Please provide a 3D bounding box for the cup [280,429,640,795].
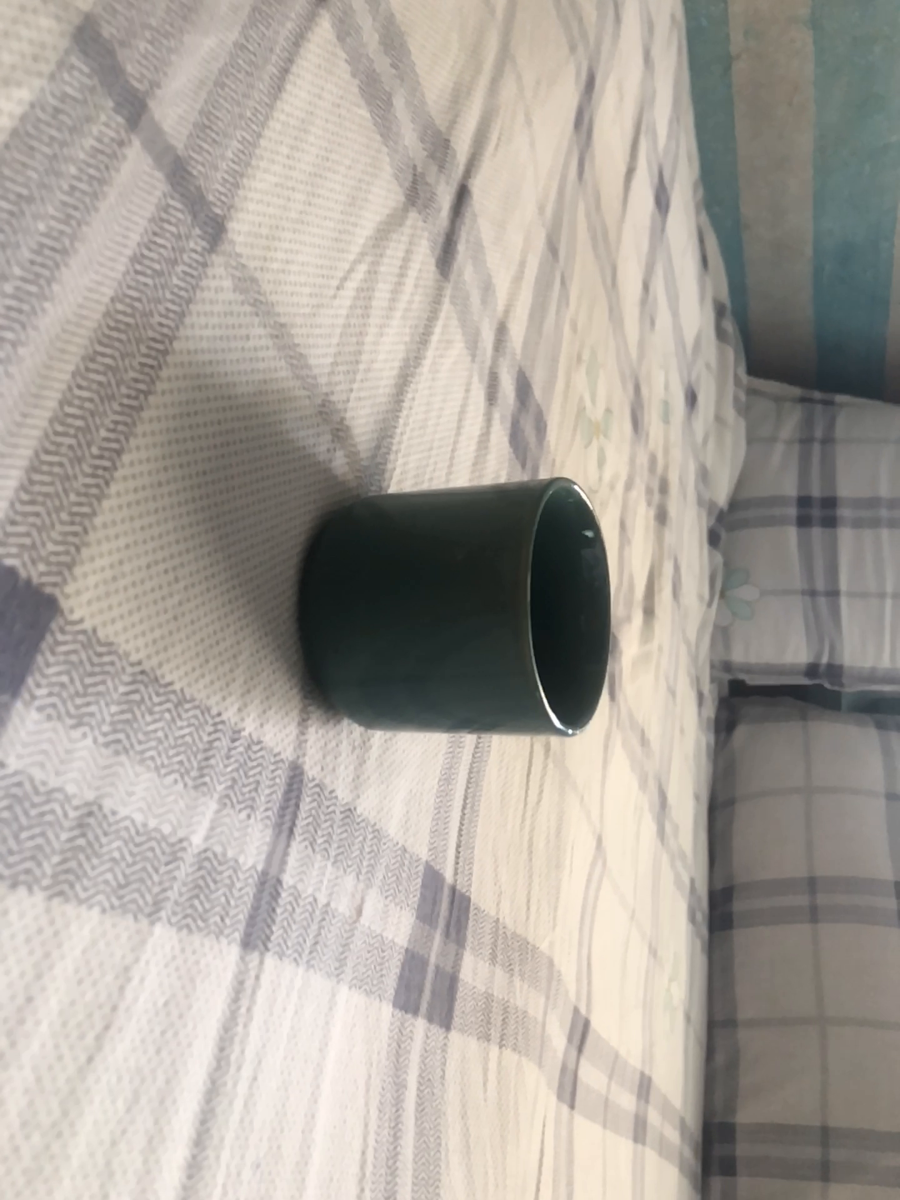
[{"bbox_3d":[0.009,-0.002,0.250,0.080,0.060,0.070,-36,122,-66],"label":"cup"}]
